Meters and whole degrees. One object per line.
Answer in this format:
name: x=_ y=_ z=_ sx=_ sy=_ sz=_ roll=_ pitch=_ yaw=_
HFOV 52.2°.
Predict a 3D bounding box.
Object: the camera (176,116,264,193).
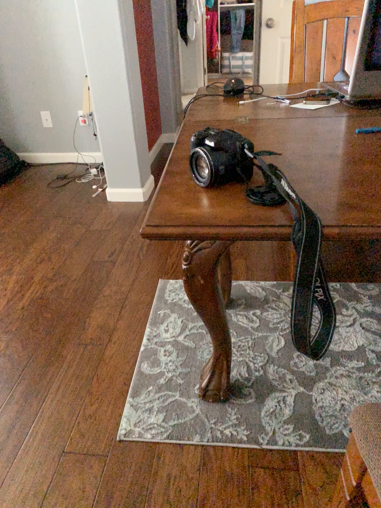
camera: x=0.045 y=-0.166 z=0.633 sx=0.090 sy=0.079 sz=0.111 roll=-20 pitch=36 yaw=-25
